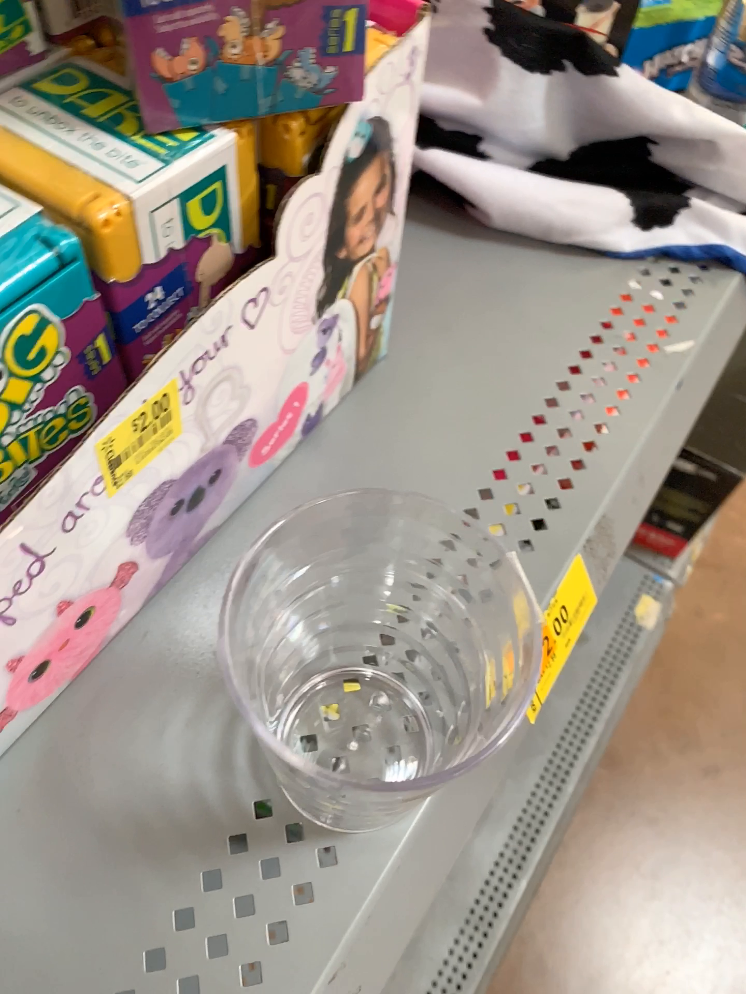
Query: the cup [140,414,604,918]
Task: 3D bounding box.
[{"bbox_3d":[-0.002,0.052,0.214,0.070,0.107,0.079,31,59,13],"label":"cup"}]
